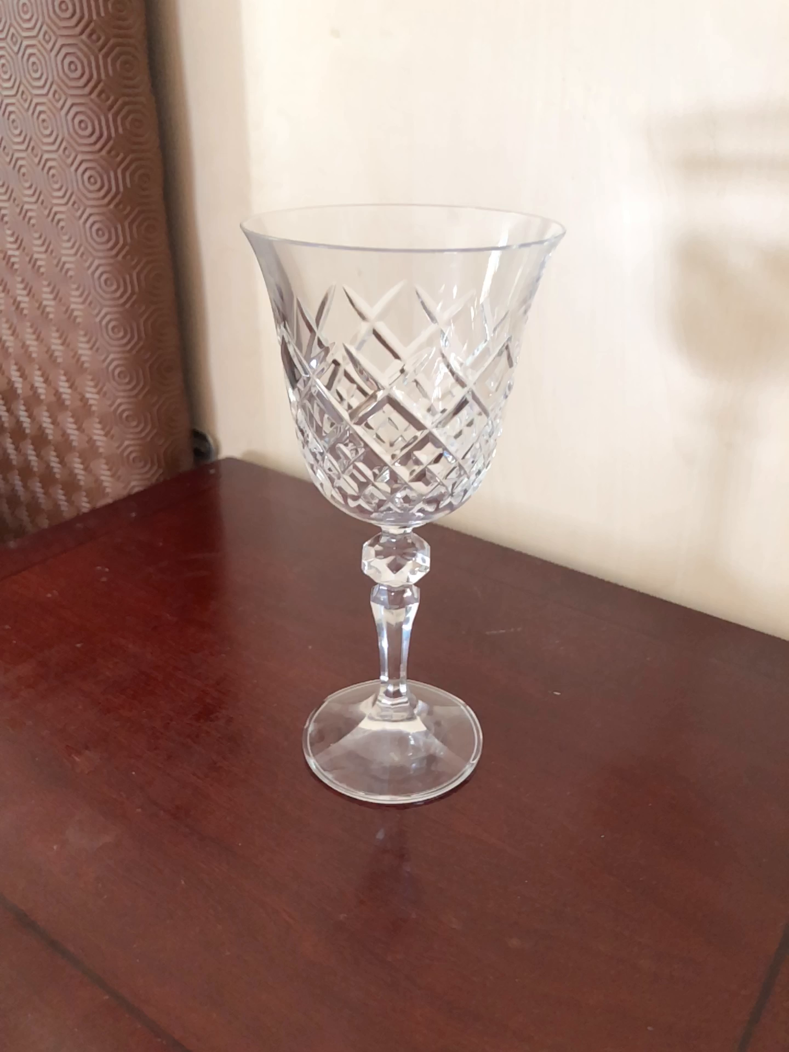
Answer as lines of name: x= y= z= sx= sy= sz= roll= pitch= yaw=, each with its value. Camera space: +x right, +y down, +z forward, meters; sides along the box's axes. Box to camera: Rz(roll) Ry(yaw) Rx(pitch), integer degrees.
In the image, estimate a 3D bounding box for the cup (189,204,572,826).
cup: x=0.003 y=-0.008 z=0.284 sx=0.091 sy=0.170 sz=0.092 roll=1 pitch=26 yaw=0
